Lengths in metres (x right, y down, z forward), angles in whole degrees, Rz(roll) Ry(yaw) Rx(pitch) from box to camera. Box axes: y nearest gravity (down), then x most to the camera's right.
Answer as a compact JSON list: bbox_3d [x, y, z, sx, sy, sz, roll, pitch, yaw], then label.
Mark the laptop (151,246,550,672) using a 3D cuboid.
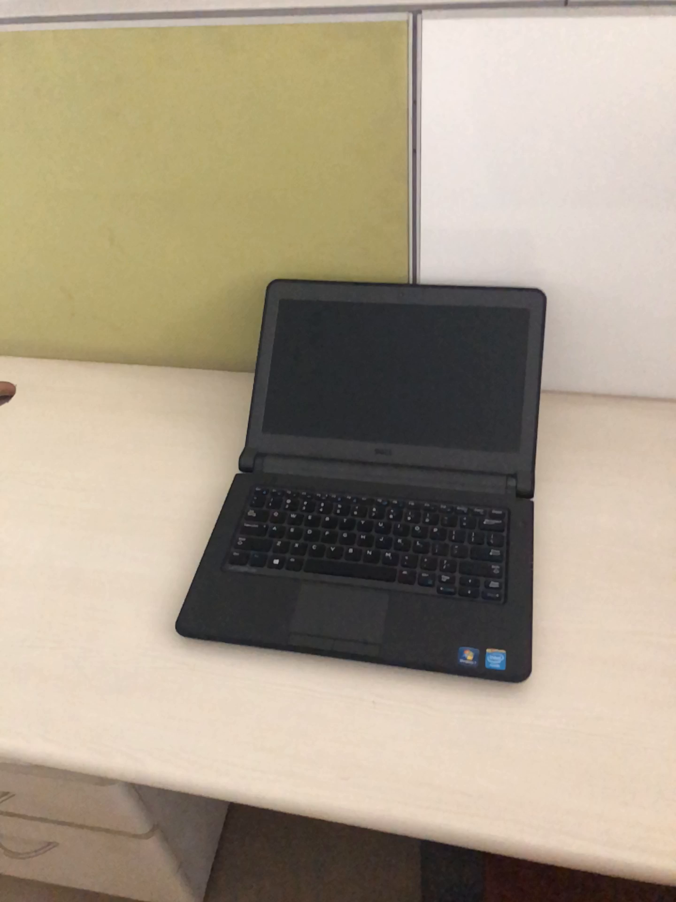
[{"bbox_3d":[0.045,-0.028,0.755,0.316,0.122,0.417,5,48,11],"label":"laptop"}]
